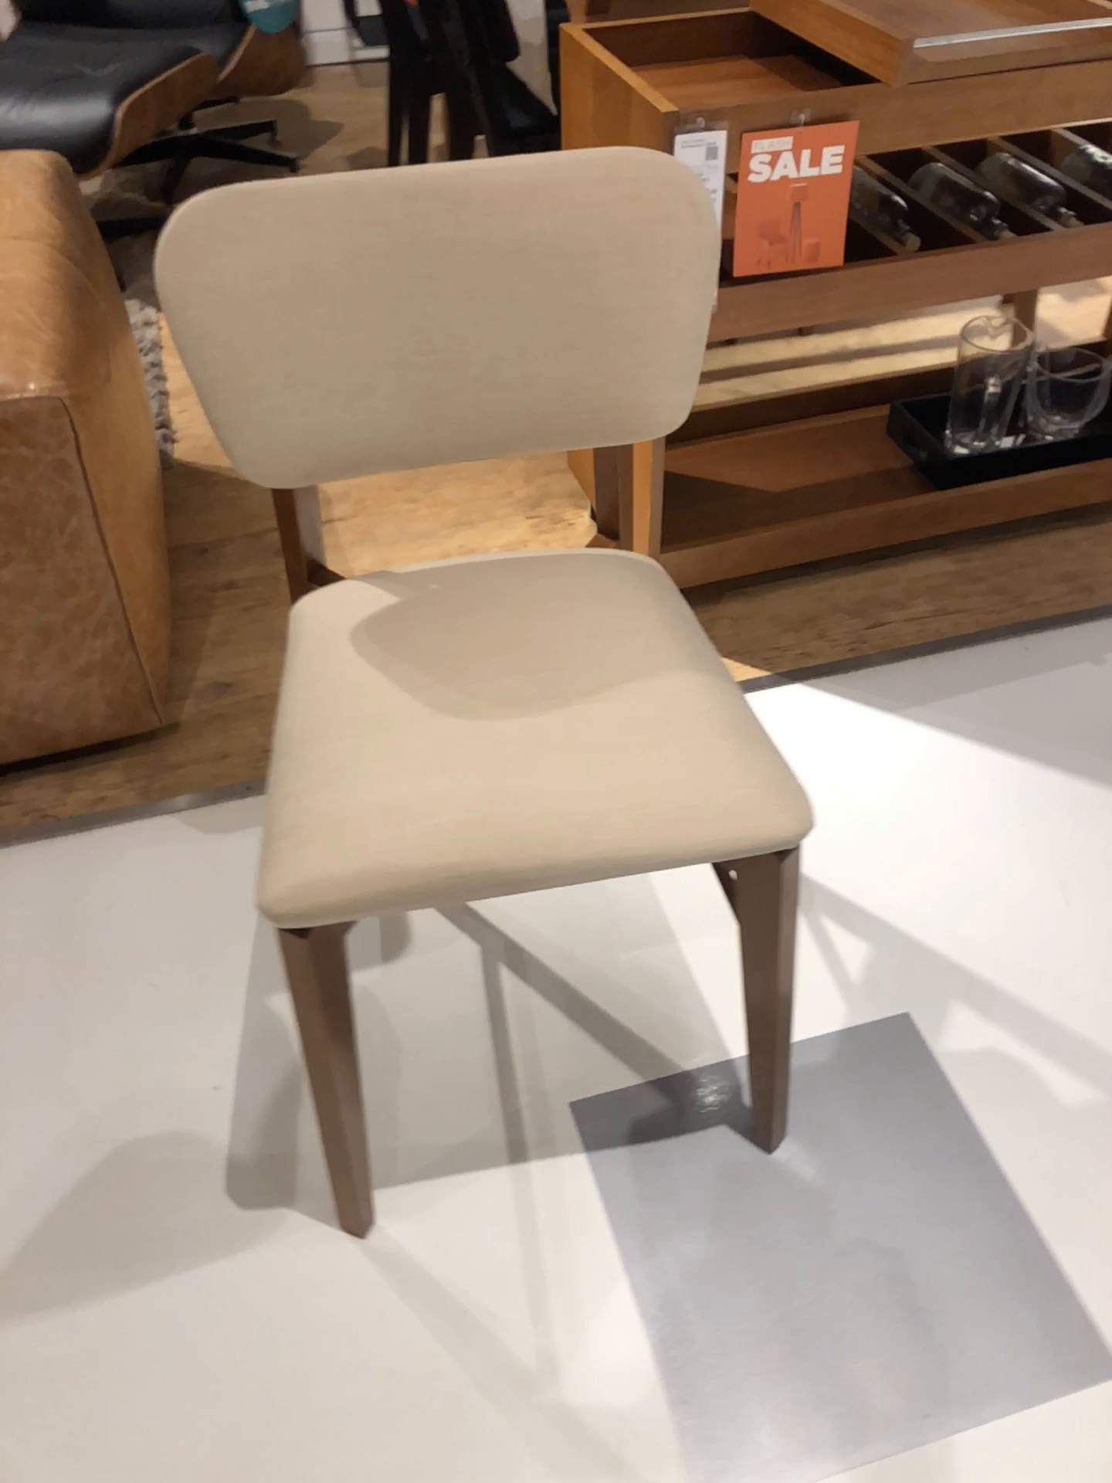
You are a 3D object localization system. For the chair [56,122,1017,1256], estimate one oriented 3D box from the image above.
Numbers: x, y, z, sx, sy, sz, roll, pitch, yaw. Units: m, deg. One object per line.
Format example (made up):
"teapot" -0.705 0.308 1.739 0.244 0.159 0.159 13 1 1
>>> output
"chair" -0.043 -0.041 1.114 0.510 0.764 0.594 -8 43 -7
